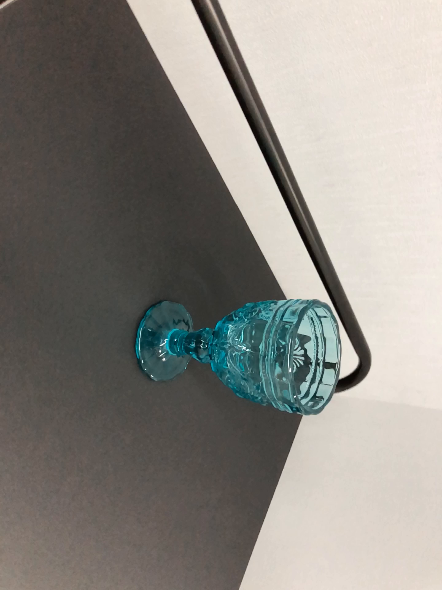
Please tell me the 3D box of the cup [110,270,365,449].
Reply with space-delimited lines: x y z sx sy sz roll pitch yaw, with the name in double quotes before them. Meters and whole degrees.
"cup" 0.014 0.045 0.398 0.085 0.164 0.095 58 47 -36
